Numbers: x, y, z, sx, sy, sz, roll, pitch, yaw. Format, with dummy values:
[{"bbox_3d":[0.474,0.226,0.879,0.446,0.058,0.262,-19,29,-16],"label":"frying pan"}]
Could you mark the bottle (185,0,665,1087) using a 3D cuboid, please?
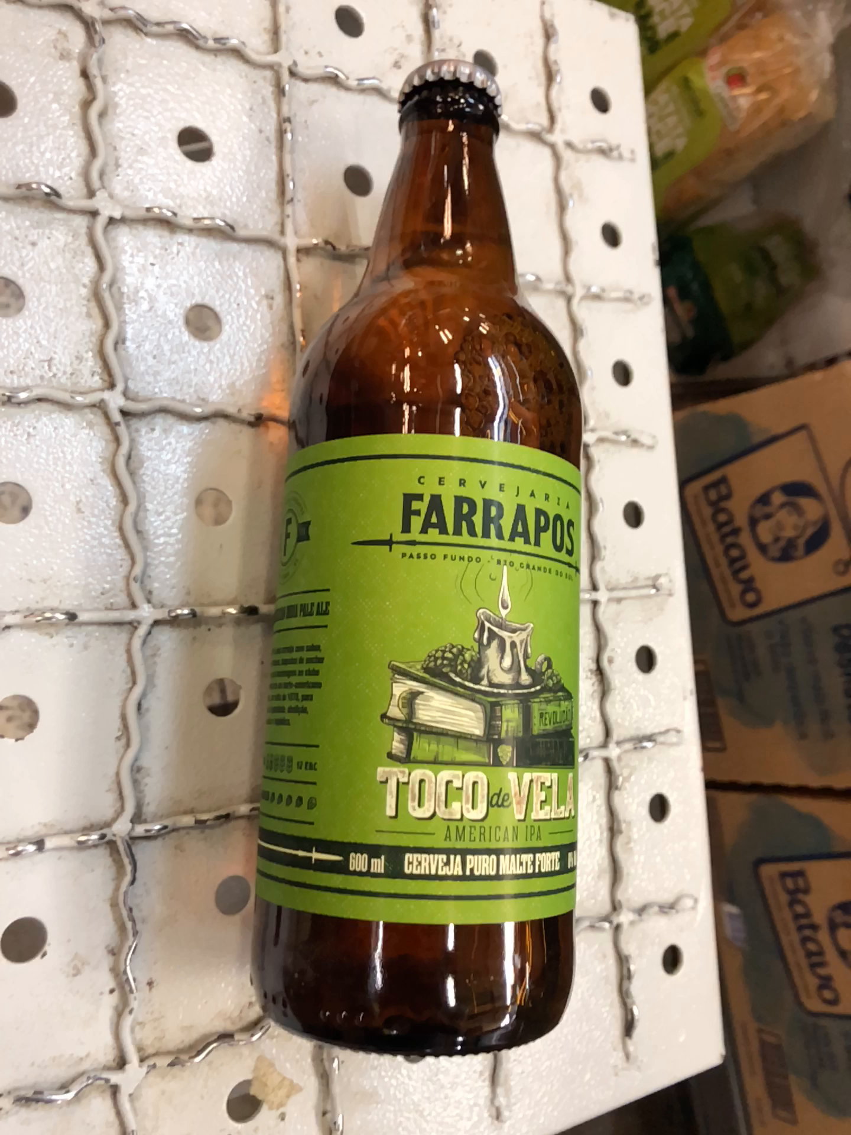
[{"bbox_3d":[0.003,-0.029,0.238,0.080,0.070,0.260,9,79,-34],"label":"bottle"}]
